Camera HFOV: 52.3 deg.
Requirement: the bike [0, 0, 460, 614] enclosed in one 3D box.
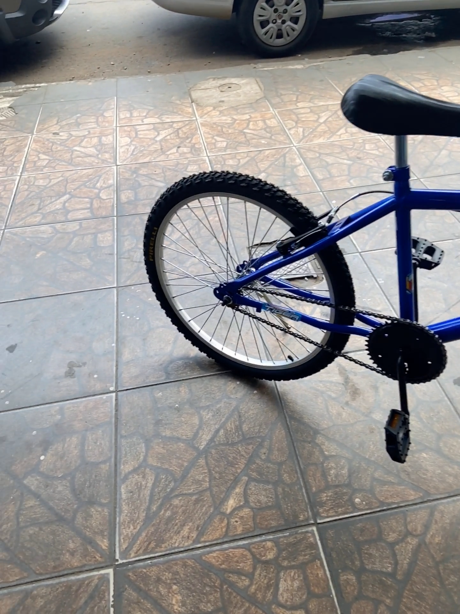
[{"bbox_3d":[0.393,-0.032,0.824,1.488,0.923,0.625,22,52,26],"label":"bike"}]
